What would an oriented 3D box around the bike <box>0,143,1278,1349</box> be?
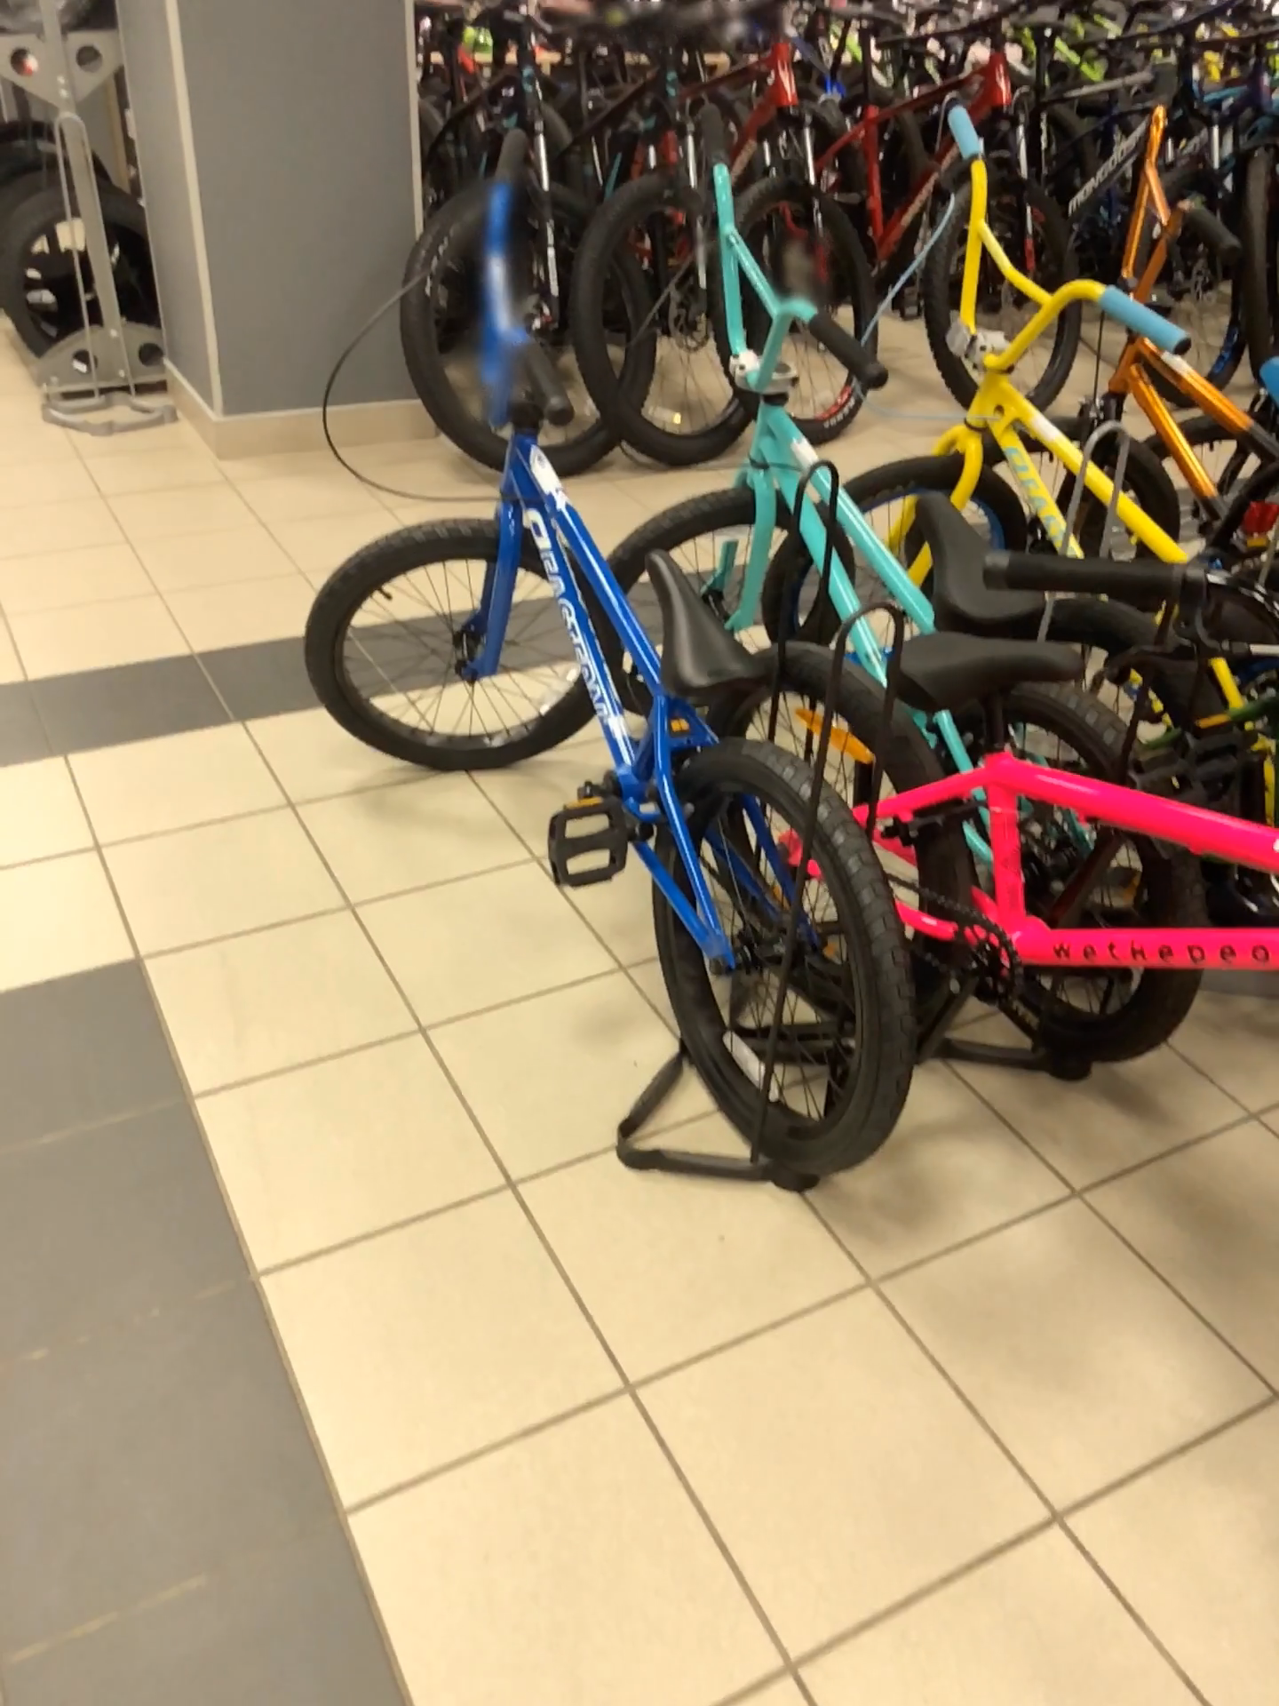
[{"bbox_3d":[-0.091,-0.276,1.787,0.822,0.961,1.261,-19,40,-31],"label":"bike"}]
